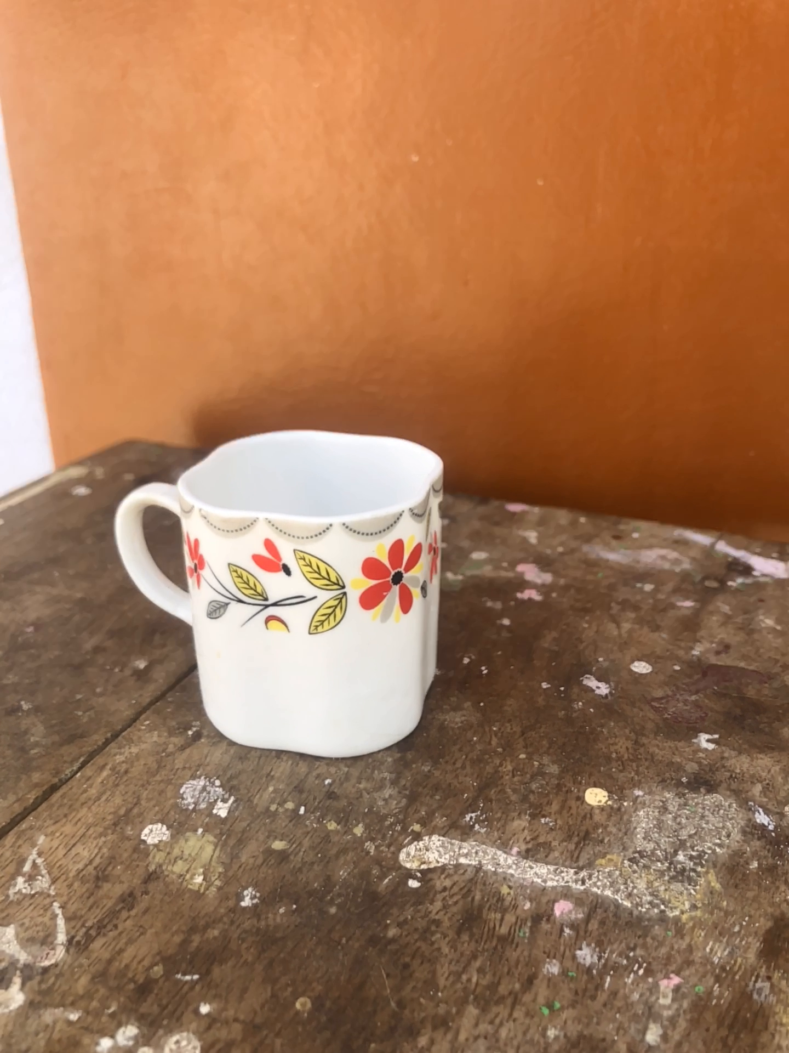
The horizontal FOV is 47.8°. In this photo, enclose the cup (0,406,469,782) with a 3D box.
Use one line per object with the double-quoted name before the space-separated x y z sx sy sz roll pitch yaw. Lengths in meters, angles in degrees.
"cup" -0.033 0.010 0.211 0.090 0.060 0.060 5 21 14
